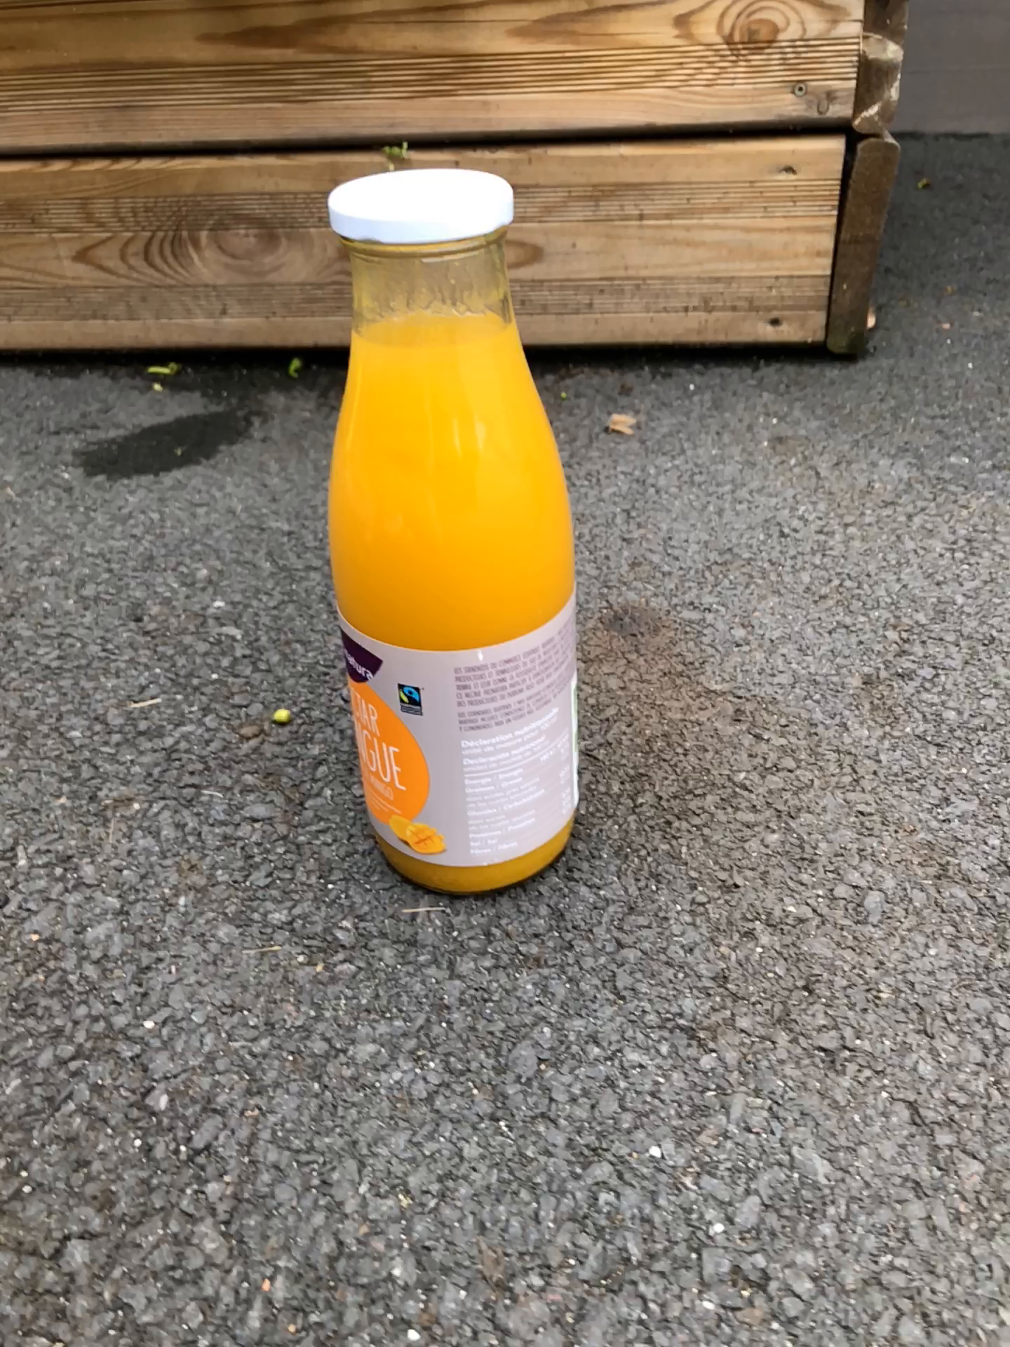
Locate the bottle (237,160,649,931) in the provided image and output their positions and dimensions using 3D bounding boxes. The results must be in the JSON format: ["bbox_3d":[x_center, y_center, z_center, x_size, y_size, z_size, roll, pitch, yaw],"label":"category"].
[{"bbox_3d":[-0.014,-0.035,0.345,0.080,0.209,0.080,-2,33,1],"label":"bottle"}]
